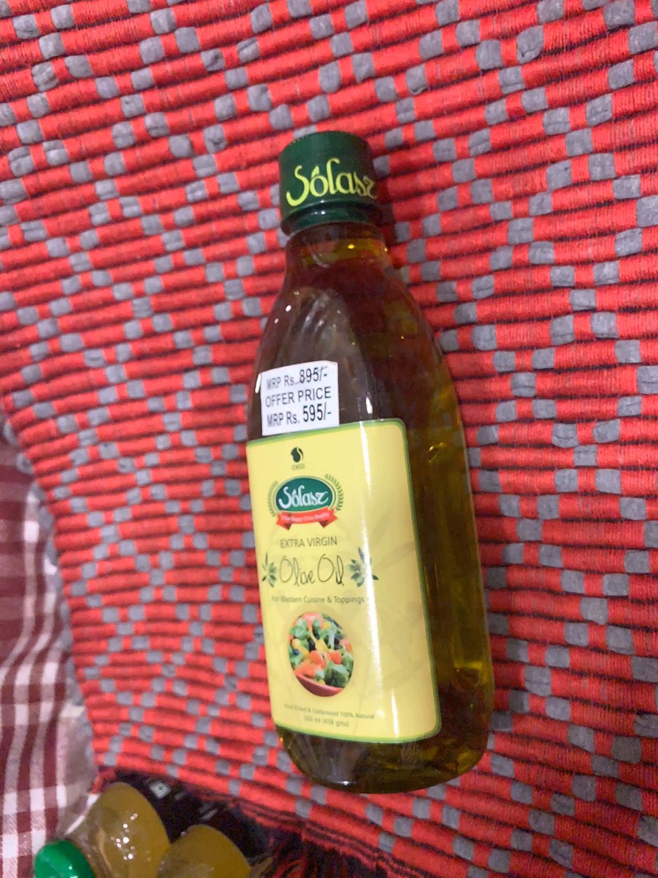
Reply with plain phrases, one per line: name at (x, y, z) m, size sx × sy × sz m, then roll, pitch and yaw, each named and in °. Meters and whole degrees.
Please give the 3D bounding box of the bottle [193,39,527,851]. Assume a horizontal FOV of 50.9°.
bottle at (0.009, 0.000, 0.215) m, size 0.060 × 0.070 × 0.200 m, roll -9°, pitch 82°, yaw 37°
